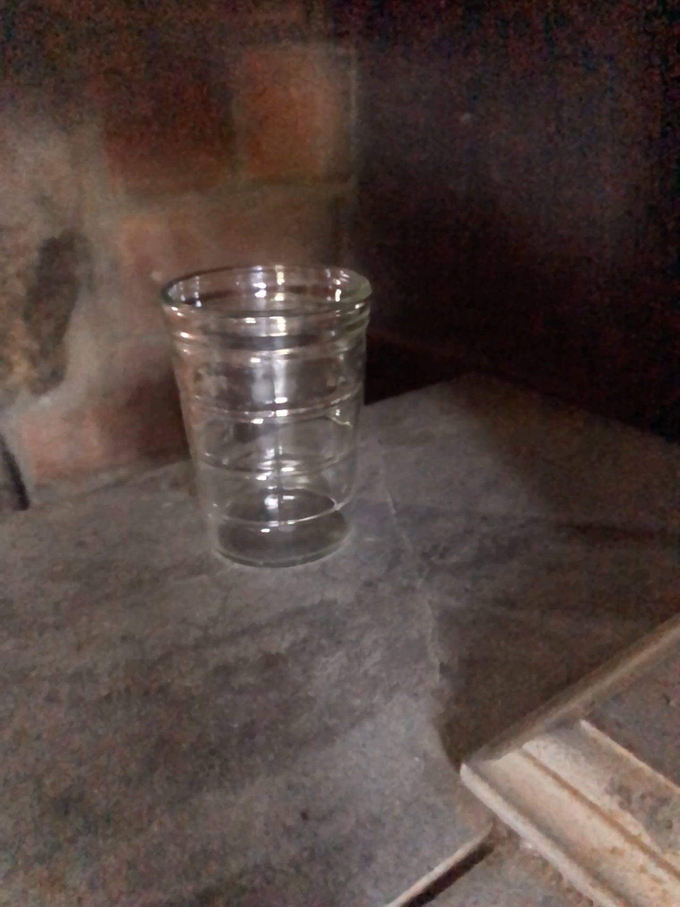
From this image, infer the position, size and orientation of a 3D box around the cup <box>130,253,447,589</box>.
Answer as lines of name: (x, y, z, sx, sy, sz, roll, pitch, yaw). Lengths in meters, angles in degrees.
cup: (-0.012, -0.017, 0.248, 0.070, 0.080, 0.070, -2, 24, 1)
